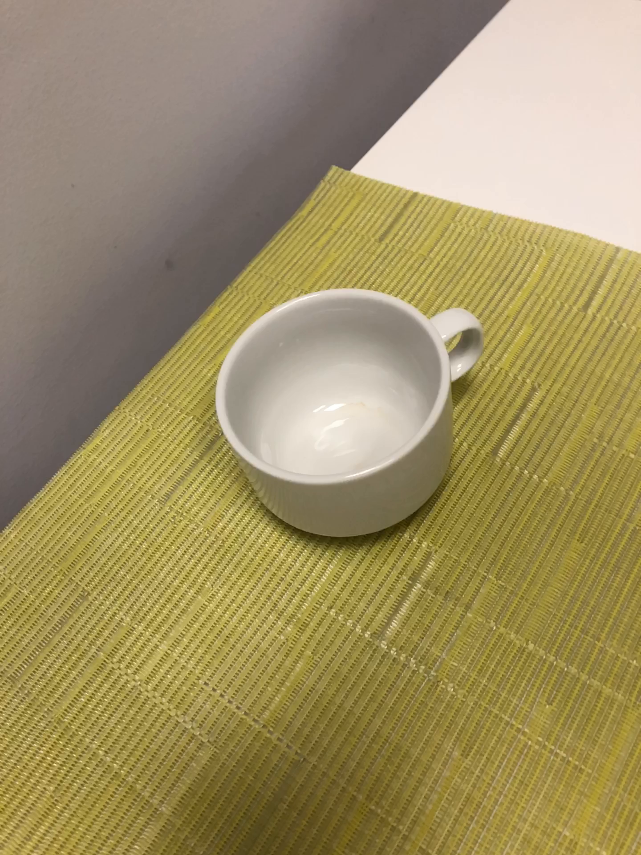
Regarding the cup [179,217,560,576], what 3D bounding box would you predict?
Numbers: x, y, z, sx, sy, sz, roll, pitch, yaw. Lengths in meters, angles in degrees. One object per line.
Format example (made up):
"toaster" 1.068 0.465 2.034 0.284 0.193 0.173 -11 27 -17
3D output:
"cup" 0.016 -0.013 0.272 0.110 0.057 0.086 -22 54 -2
